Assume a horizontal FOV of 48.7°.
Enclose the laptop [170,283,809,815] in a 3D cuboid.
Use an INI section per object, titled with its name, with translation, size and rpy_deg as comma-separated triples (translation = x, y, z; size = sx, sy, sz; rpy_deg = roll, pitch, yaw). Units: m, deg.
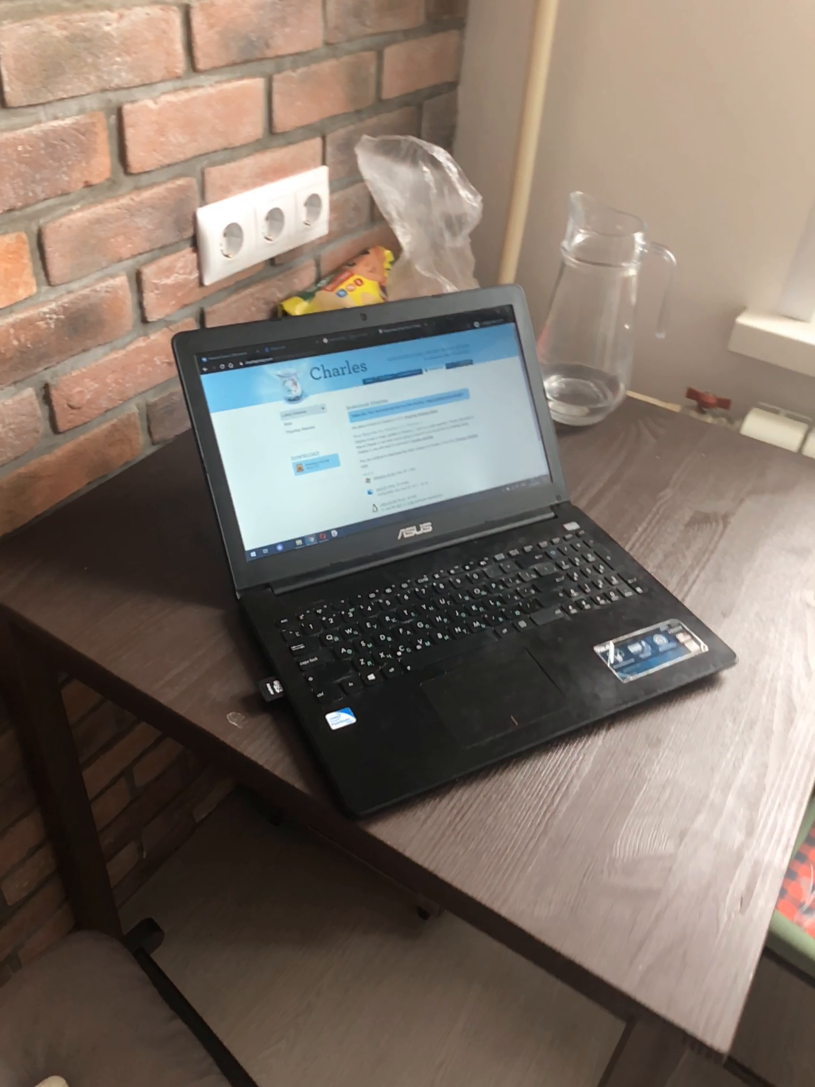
[laptop]
translation = 0.039, -0.041, 0.791
size = 0.373, 0.186, 0.401
rpy_deg = -15, 42, -24
